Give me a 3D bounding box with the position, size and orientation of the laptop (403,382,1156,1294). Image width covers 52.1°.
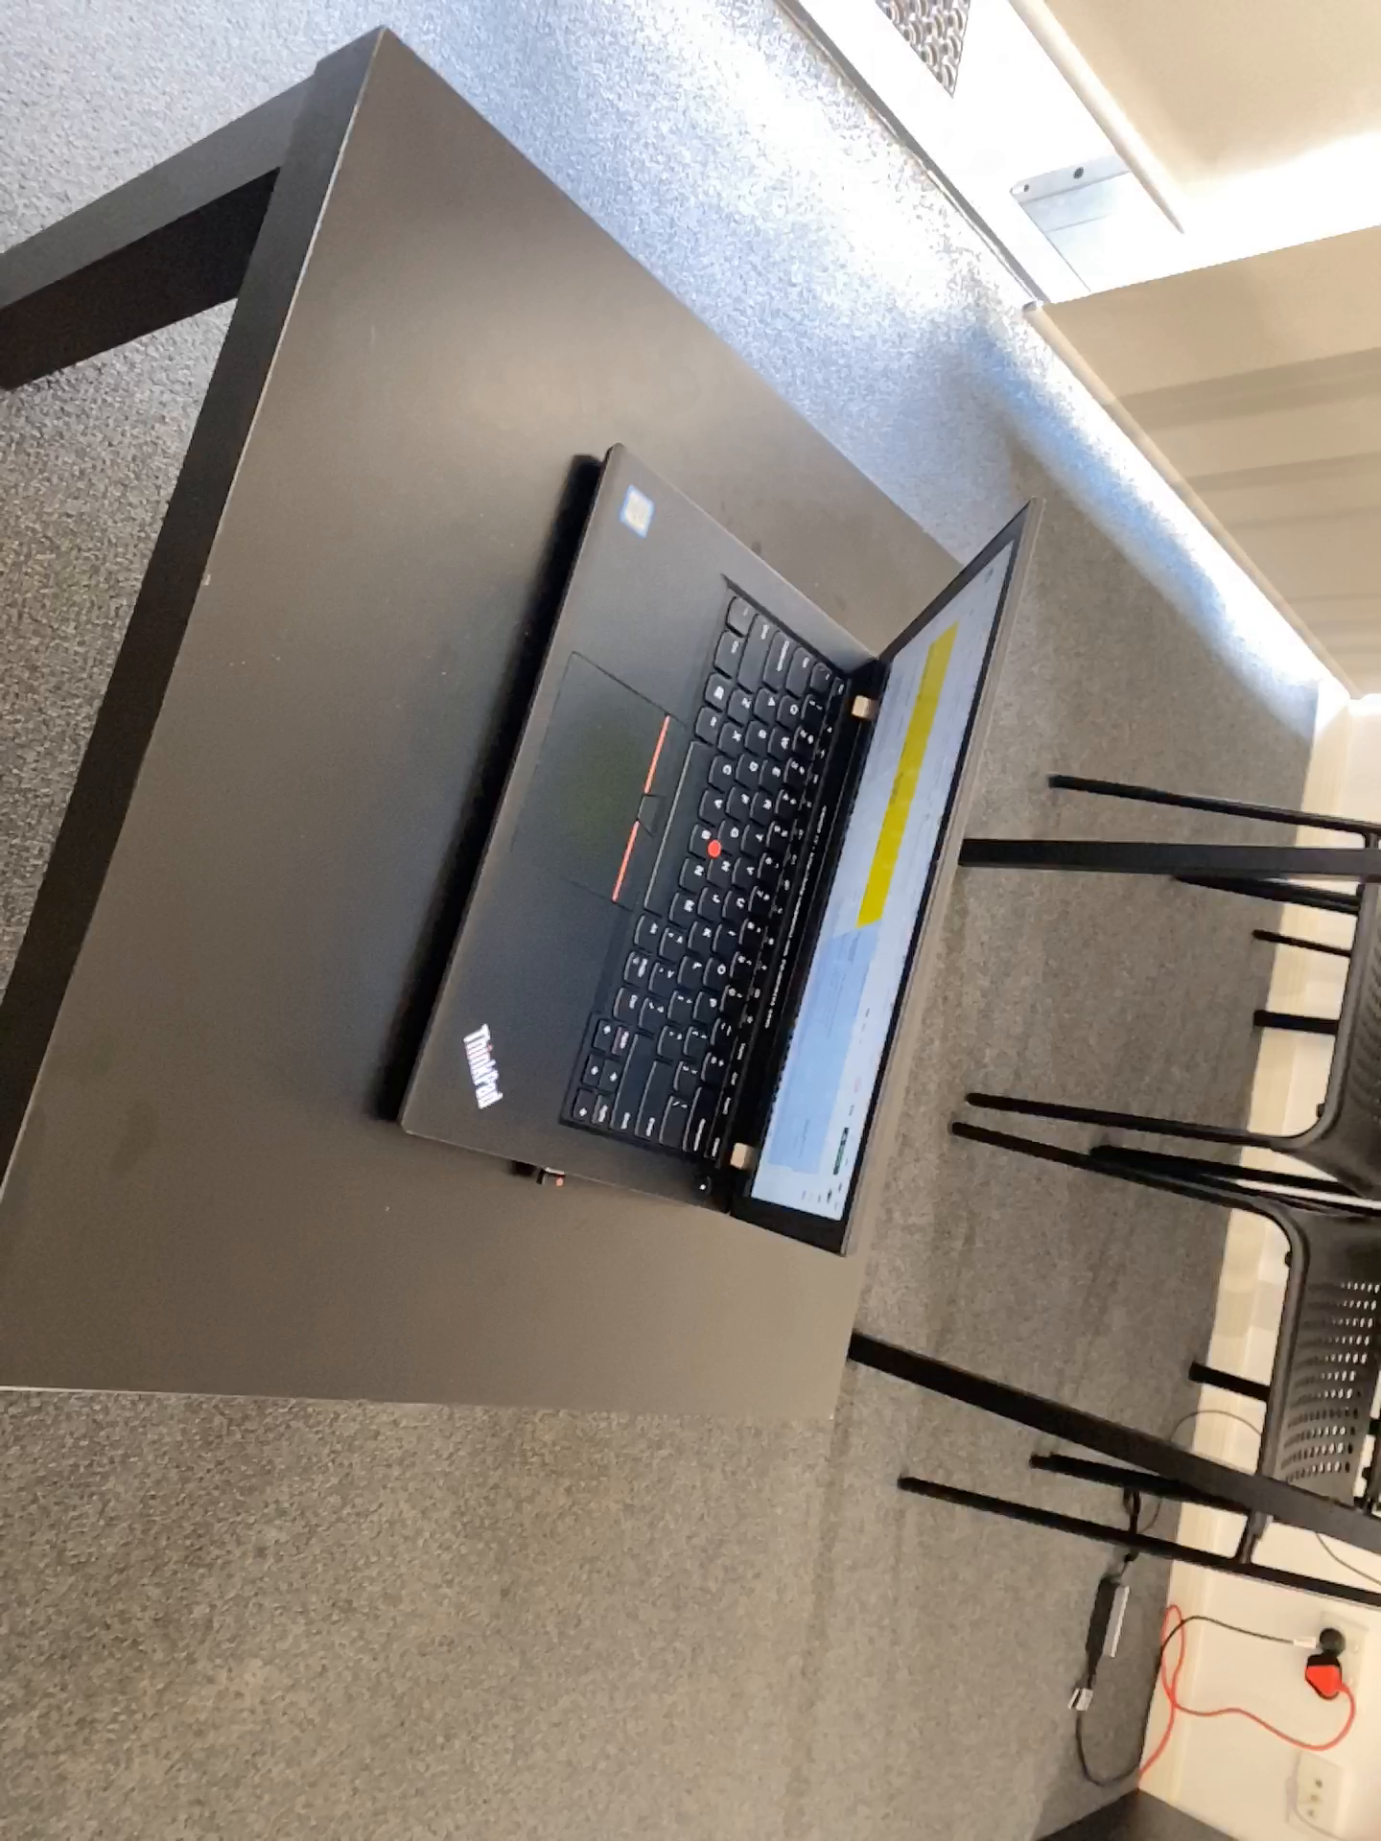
[{"bbox_3d":[0.055,-0.026,0.656,0.224,0.165,0.332,25,76,-45],"label":"laptop"}]
